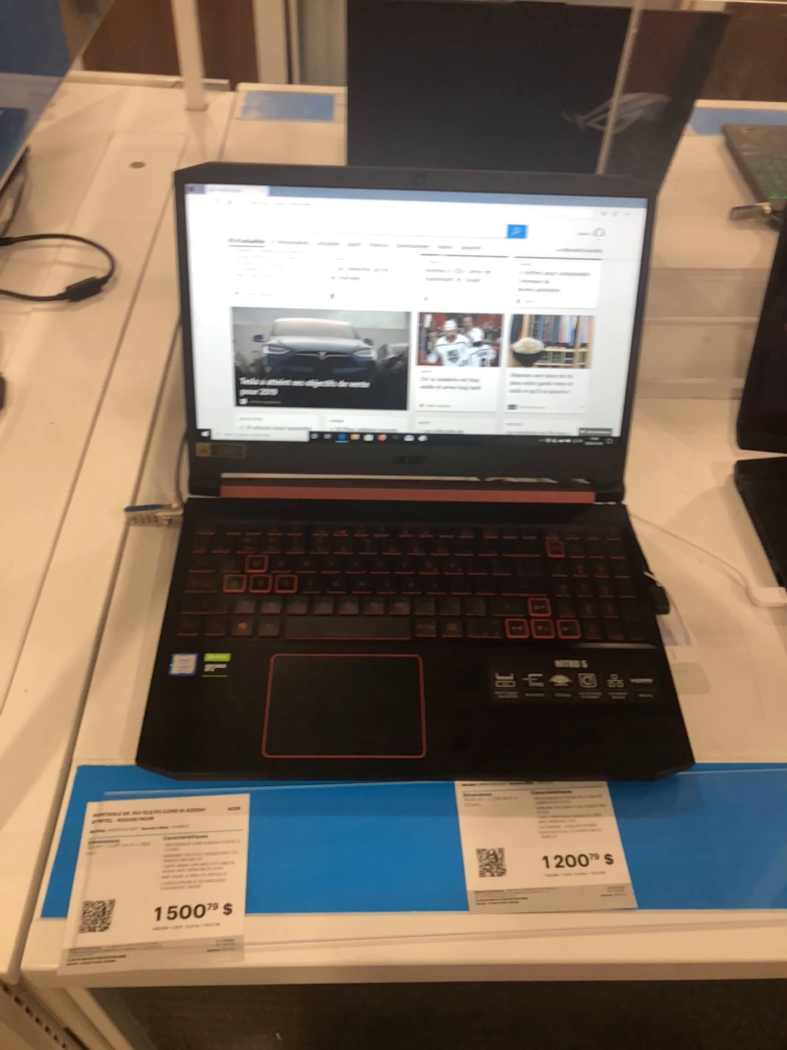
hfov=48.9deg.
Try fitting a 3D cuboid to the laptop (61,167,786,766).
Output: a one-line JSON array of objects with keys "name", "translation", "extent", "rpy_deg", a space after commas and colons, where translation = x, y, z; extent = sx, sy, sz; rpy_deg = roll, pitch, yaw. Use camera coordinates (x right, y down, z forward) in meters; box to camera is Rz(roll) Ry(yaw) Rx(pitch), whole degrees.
[{"name": "laptop", "translation": [0.019, -0.052, 0.597], "extent": [0.357, 0.211, 0.360], "rpy_deg": [1, 49, -3]}]
